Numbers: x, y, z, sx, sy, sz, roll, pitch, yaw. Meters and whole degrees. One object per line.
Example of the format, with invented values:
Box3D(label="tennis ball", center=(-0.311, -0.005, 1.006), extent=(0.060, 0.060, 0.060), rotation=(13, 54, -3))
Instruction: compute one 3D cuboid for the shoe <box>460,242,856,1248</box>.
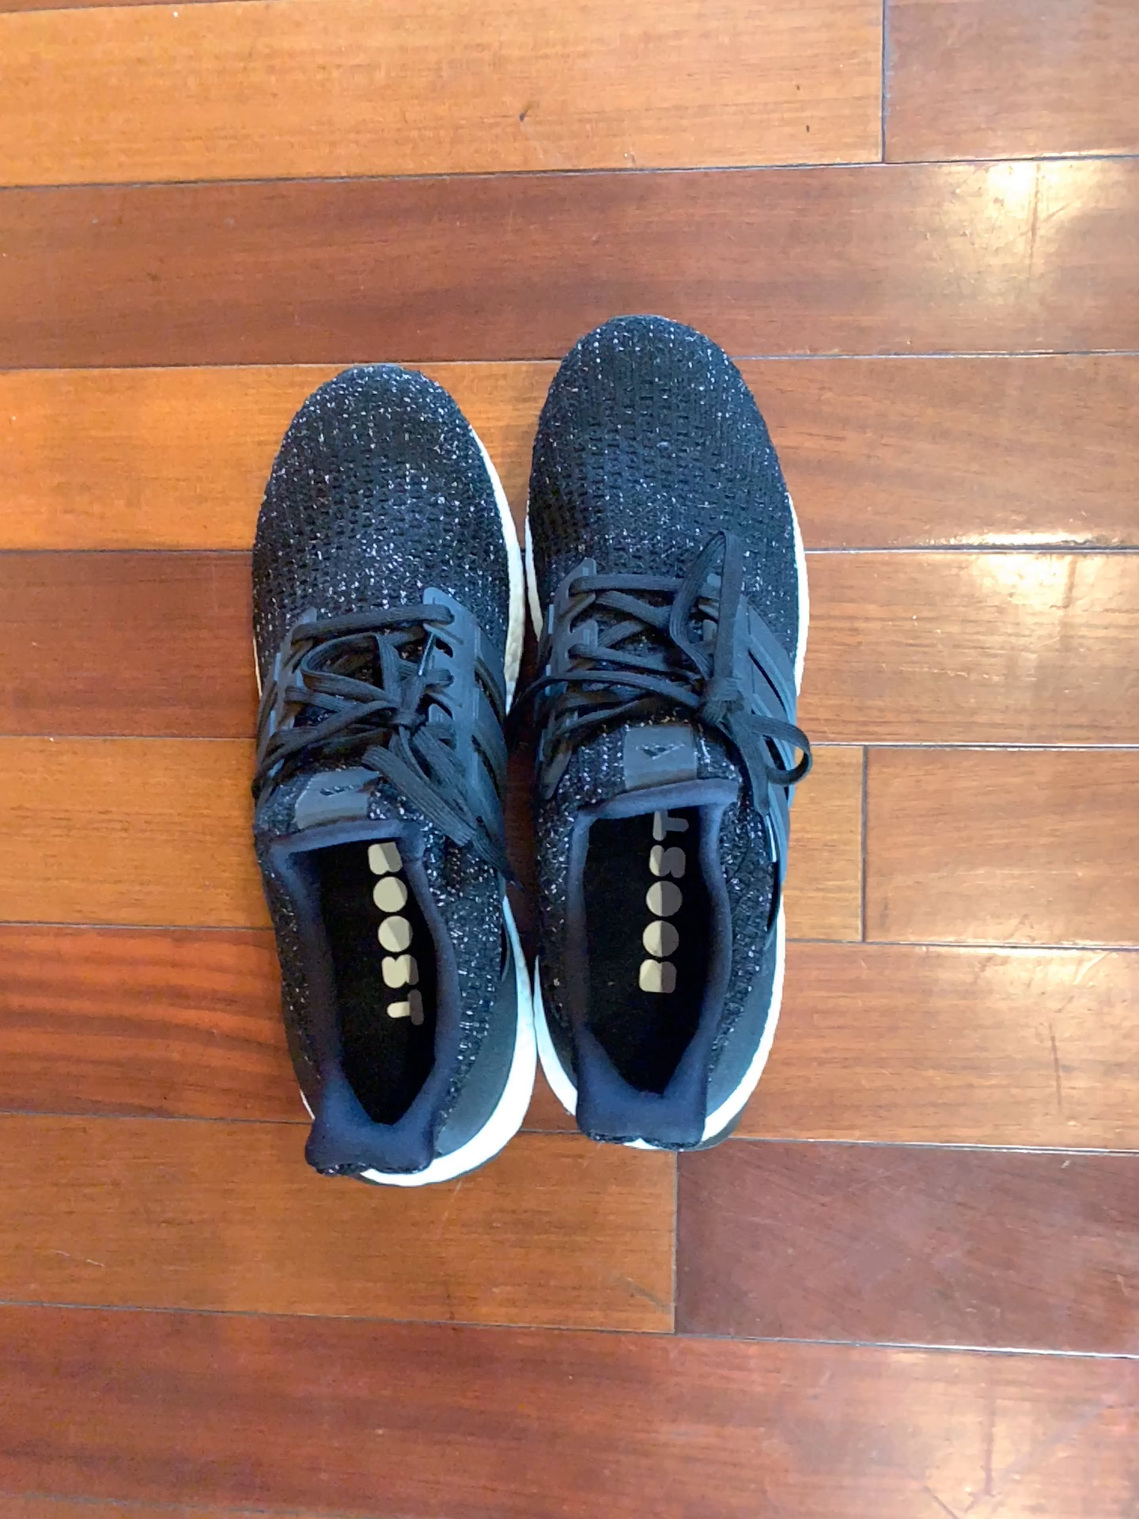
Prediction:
Box3D(label="shoe", center=(0.030, -0.005, 0.391), extent=(0.110, 0.100, 0.290), rotation=(1, 88, 5))

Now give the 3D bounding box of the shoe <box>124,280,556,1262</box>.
Box3D(label="shoe", center=(-0.074, 0.005, 0.415), extent=(0.110, 0.100, 0.300), rotation=(-4, 88, 4))
